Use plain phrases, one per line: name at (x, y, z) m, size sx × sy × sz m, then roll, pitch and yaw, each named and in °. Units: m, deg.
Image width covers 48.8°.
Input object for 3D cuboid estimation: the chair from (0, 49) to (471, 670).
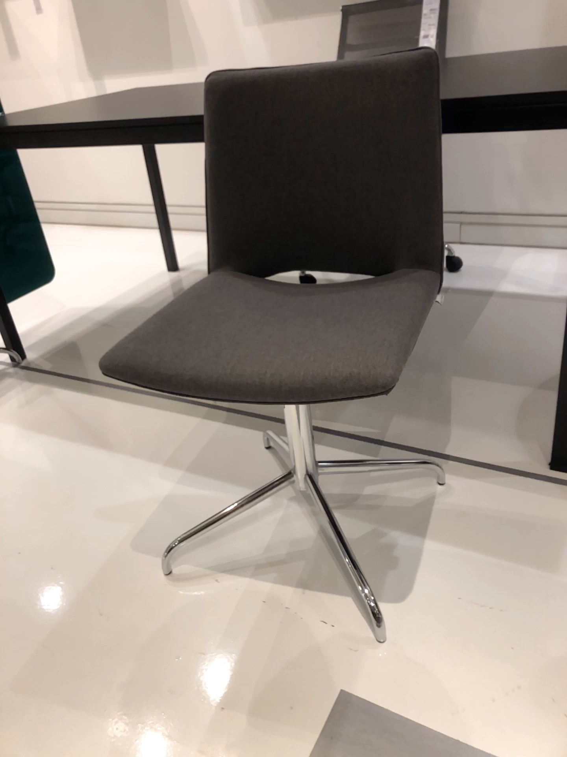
chair at (0.017, -0.058, 1.101) m, size 0.521 × 0.844 × 0.534 m, roll 5°, pitch 31°, yaw 22°
